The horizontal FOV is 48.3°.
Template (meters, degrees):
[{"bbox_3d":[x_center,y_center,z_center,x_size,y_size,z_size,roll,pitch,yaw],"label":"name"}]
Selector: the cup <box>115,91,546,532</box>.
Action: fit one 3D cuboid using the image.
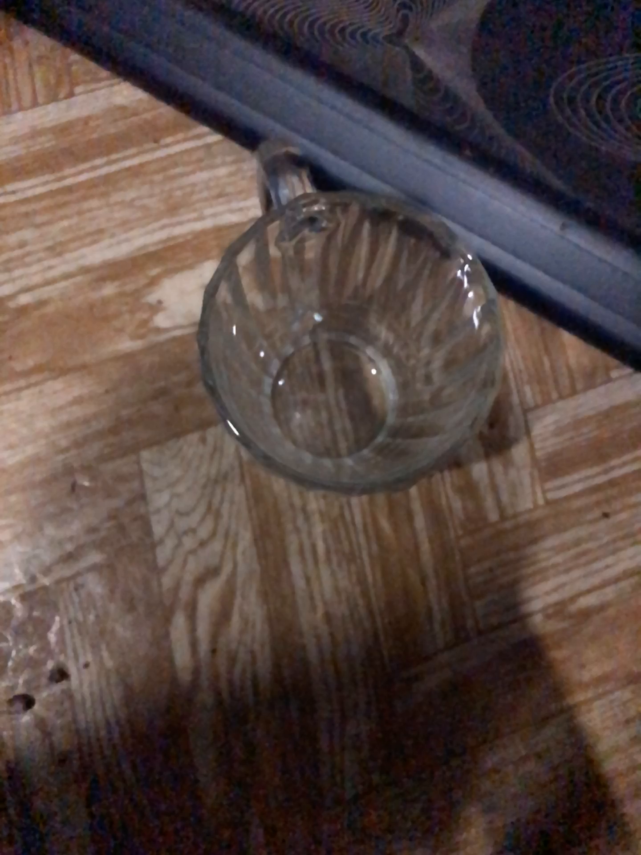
[{"bbox_3d":[-0.001,-0.033,0.279,0.113,0.107,0.126,-11,82,-5],"label":"cup"}]
